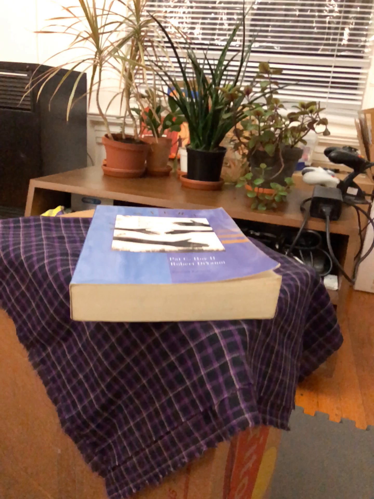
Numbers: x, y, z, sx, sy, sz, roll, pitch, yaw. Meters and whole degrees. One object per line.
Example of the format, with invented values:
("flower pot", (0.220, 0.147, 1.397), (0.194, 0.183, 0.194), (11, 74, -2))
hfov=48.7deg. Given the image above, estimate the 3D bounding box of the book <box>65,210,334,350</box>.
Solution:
("book", (-0.005, 0.014, 0.429), (0.200, 0.040, 0.261), (2, 19, -9))
